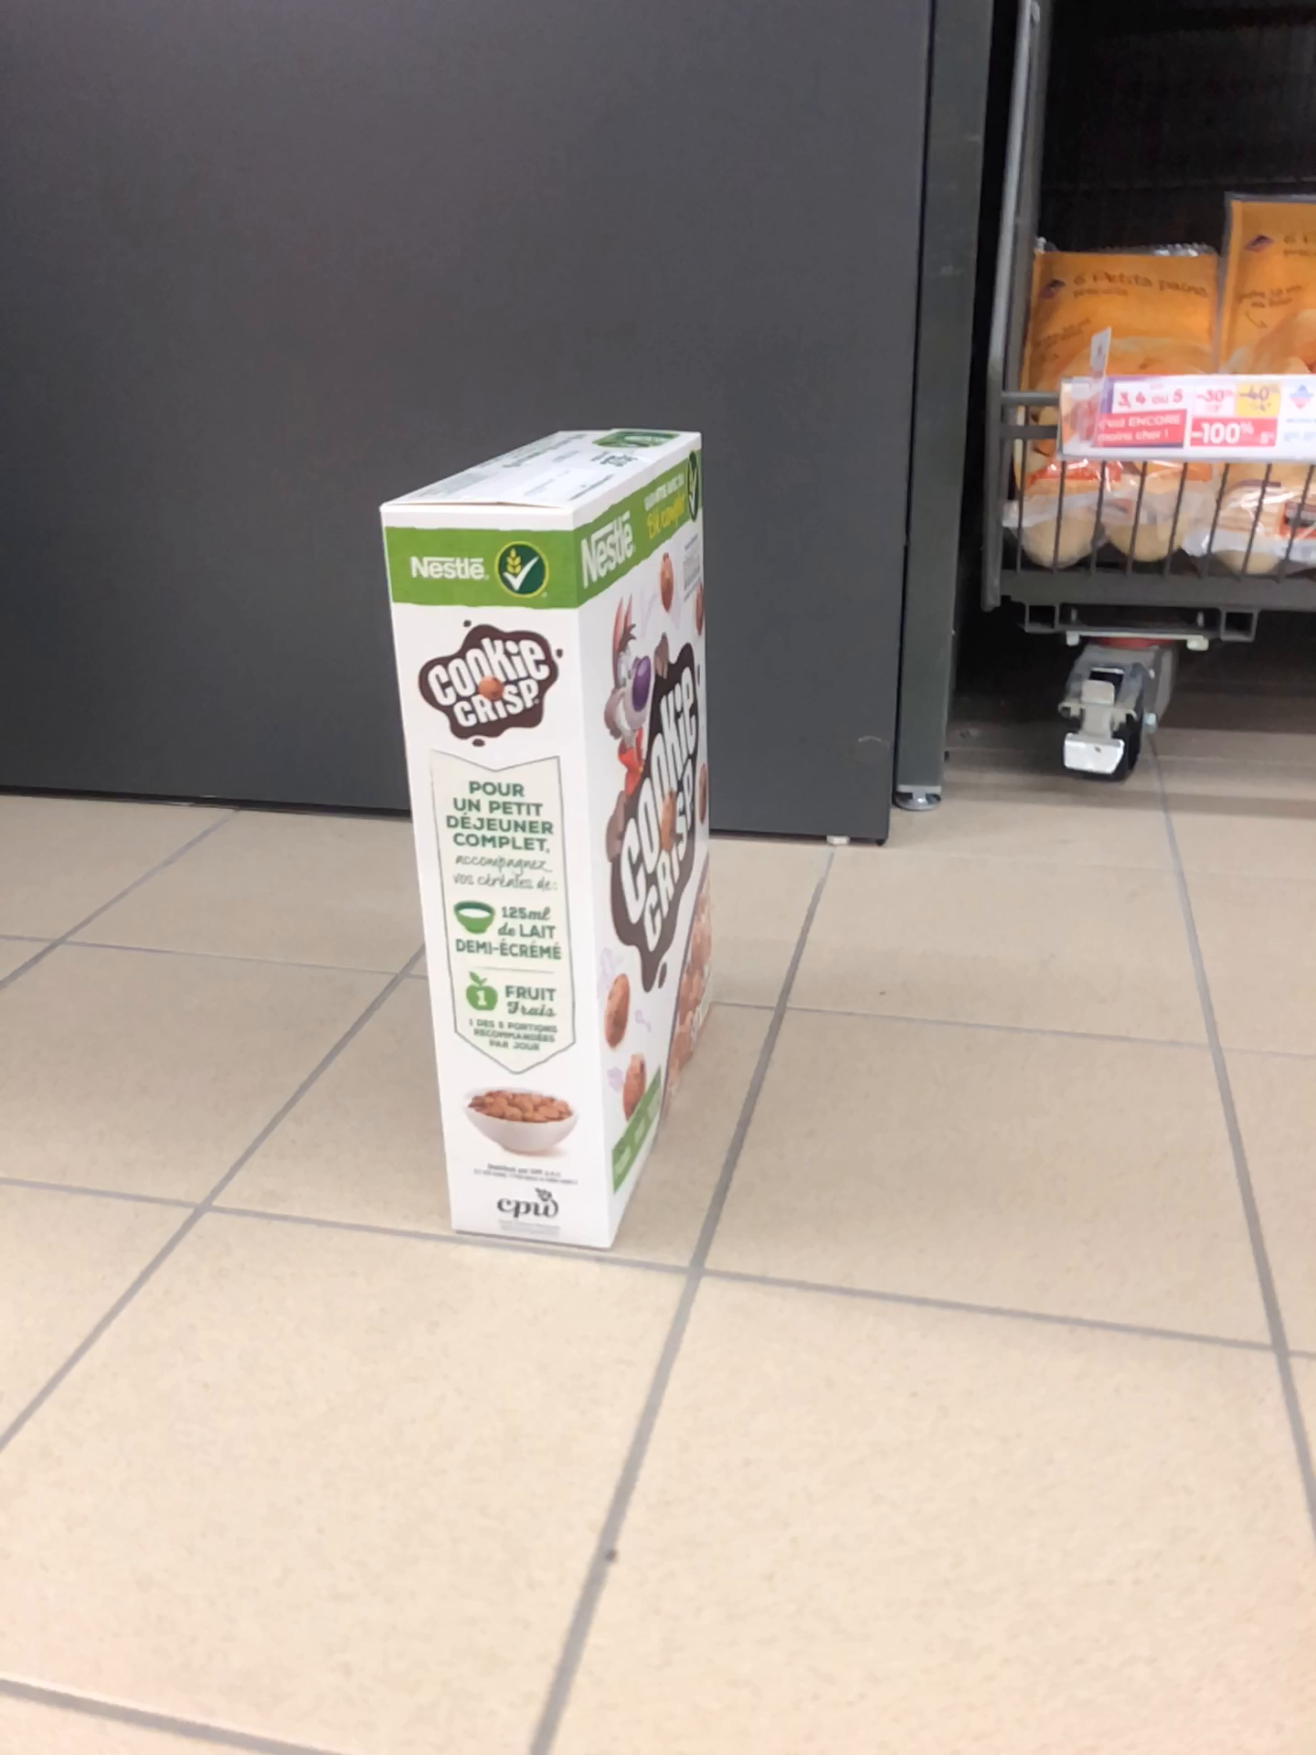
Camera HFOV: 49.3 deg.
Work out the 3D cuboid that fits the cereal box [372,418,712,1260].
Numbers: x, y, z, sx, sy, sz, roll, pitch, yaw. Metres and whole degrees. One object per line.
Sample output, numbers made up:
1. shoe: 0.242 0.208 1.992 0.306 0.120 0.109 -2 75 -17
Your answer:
1. cereal box: -0.029 -0.027 0.561 0.060 0.269 0.201 5 25 13
